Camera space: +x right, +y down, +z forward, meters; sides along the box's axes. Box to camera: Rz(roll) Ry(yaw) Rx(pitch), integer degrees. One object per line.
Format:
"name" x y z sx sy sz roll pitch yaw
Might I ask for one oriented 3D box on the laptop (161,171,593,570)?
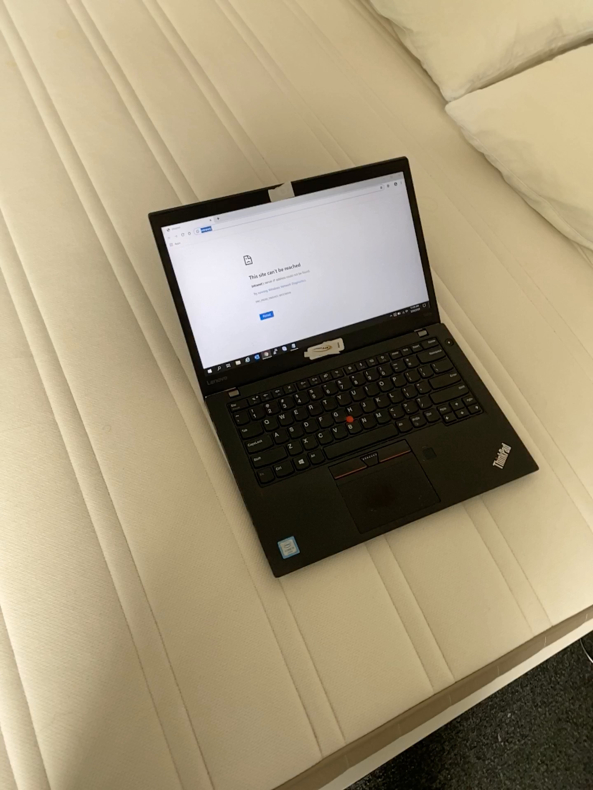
"laptop" 0.068 -0.055 0.678 0.320 0.120 0.382 -18 62 -18
